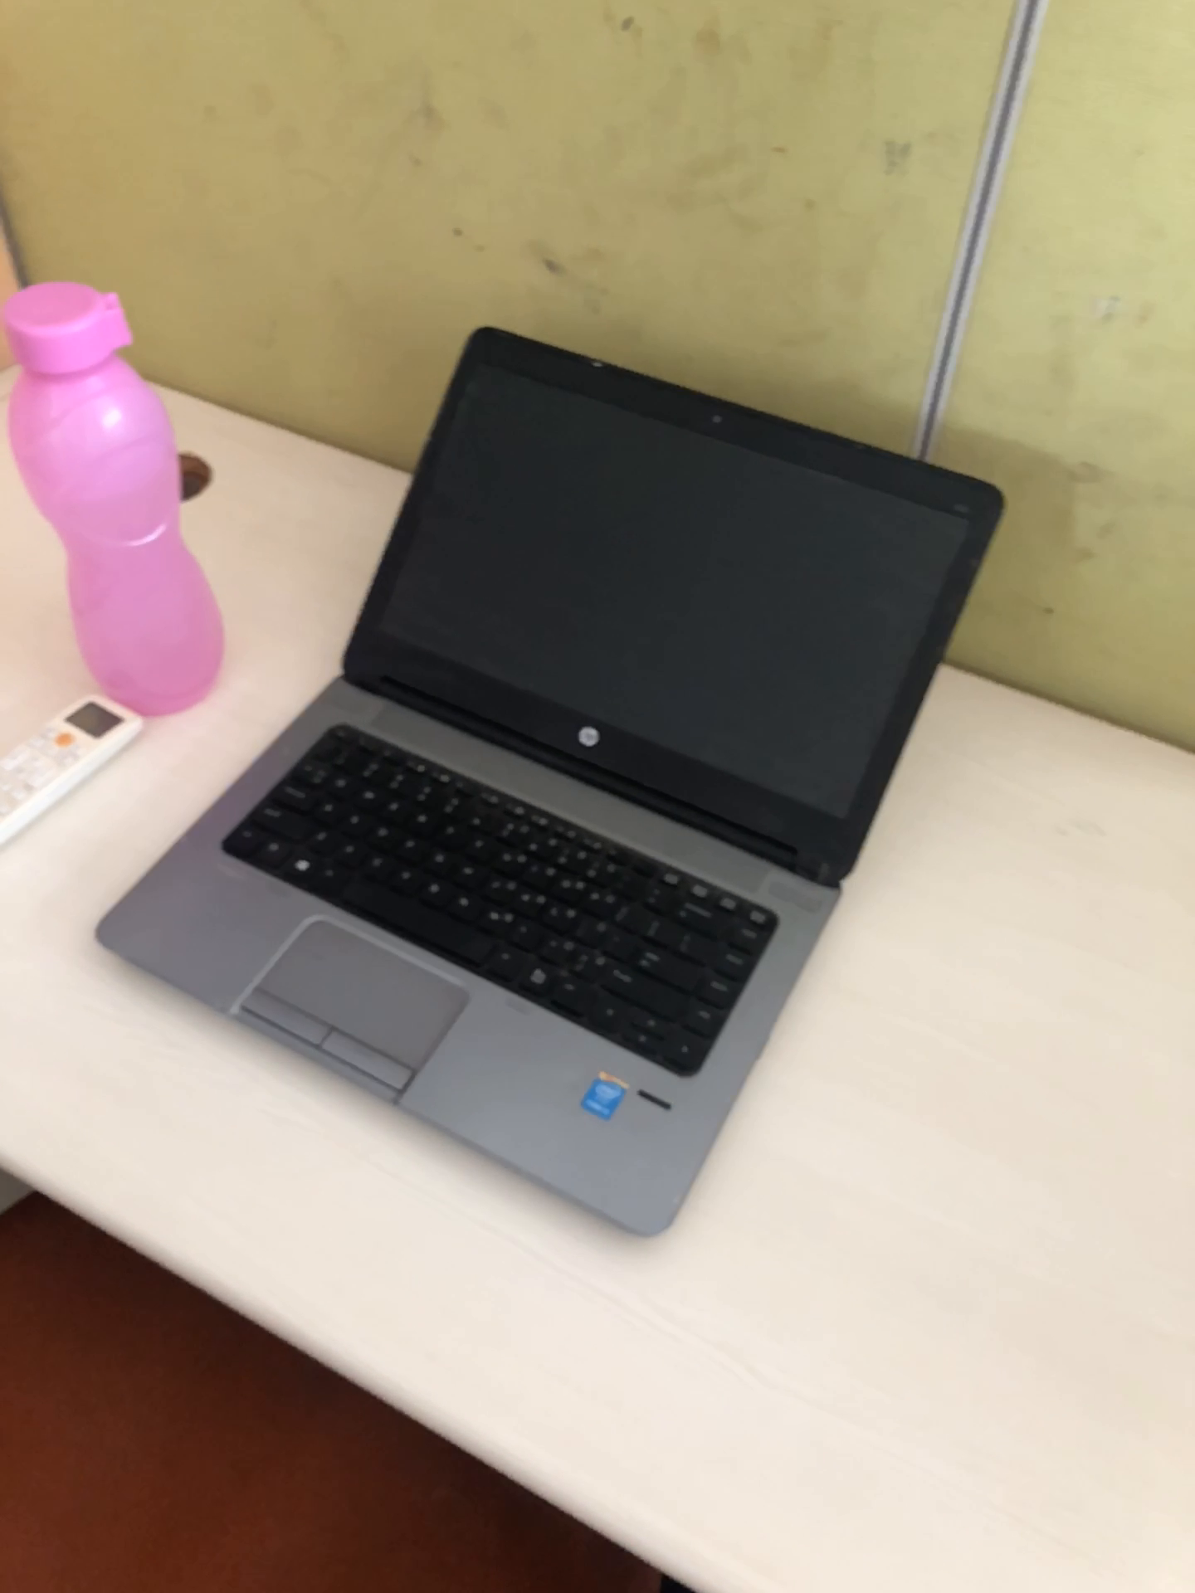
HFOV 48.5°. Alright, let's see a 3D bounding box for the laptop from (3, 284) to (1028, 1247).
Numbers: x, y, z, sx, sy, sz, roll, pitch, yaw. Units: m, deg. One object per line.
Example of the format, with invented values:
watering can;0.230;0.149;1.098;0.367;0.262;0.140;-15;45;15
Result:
laptop;-0.019;-0.054;0.687;0.326;0.148;0.408;23;56;18
